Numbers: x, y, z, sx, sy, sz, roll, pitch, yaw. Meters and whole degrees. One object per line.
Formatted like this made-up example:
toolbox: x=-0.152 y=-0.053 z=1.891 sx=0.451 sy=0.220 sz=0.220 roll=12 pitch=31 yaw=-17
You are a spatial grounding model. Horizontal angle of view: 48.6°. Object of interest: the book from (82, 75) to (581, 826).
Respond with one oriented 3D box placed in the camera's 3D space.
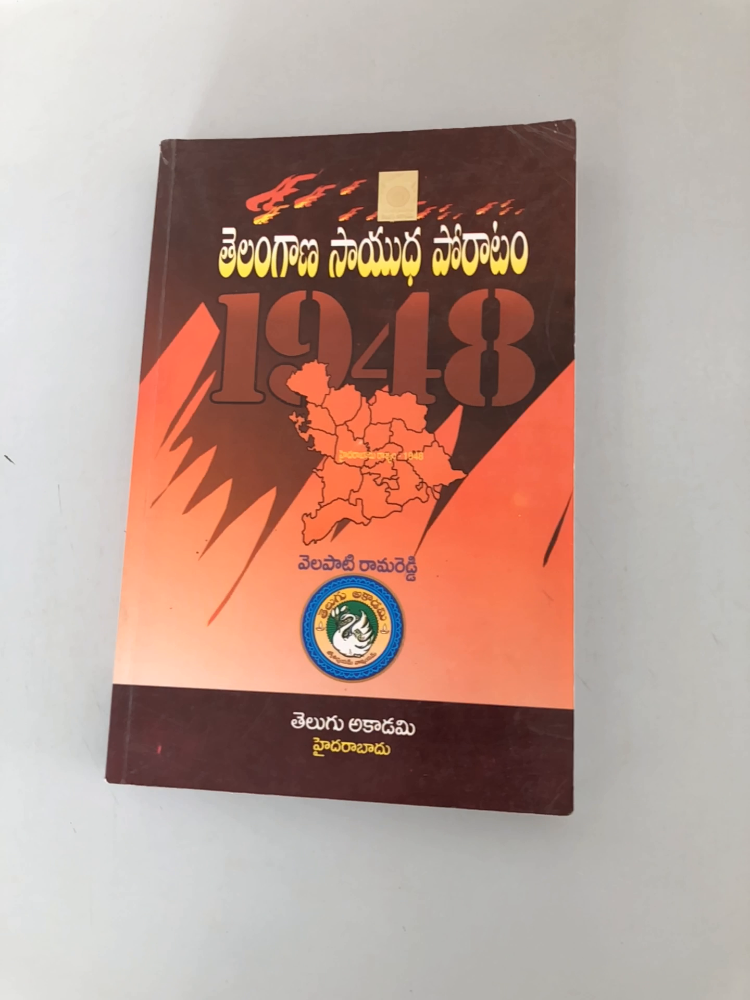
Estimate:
book: x=-0.011 y=-0.027 z=0.316 sx=0.170 sy=0.030 sz=0.270 roll=1 pitch=81 yaw=7
